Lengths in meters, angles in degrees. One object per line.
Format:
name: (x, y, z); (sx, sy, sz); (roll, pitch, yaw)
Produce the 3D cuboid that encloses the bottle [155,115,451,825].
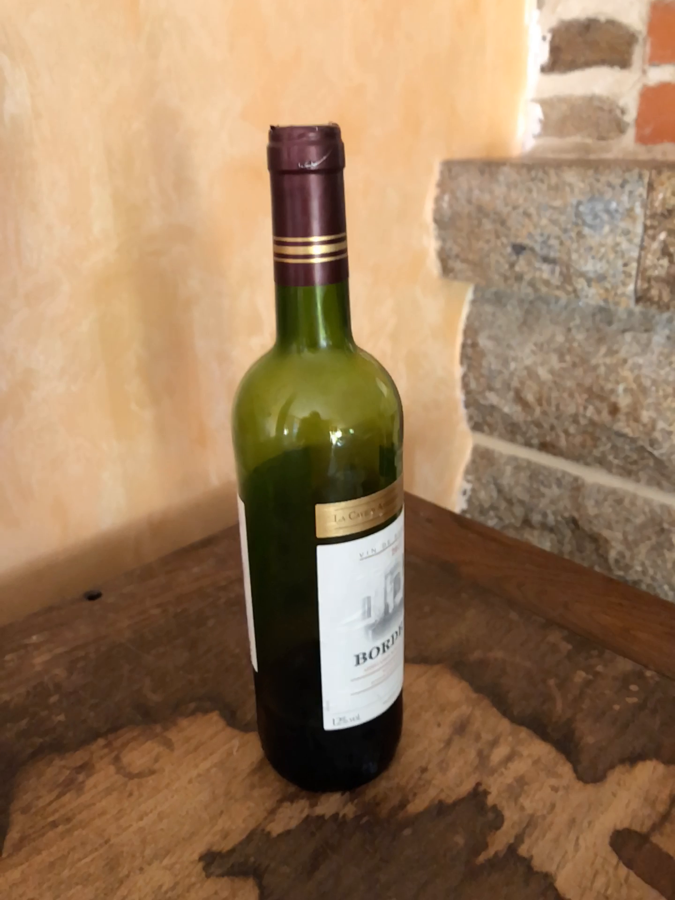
bottle: (-0.006, 0.012, 0.331); (0.080, 0.289, 0.091); (8, 24, 20)
